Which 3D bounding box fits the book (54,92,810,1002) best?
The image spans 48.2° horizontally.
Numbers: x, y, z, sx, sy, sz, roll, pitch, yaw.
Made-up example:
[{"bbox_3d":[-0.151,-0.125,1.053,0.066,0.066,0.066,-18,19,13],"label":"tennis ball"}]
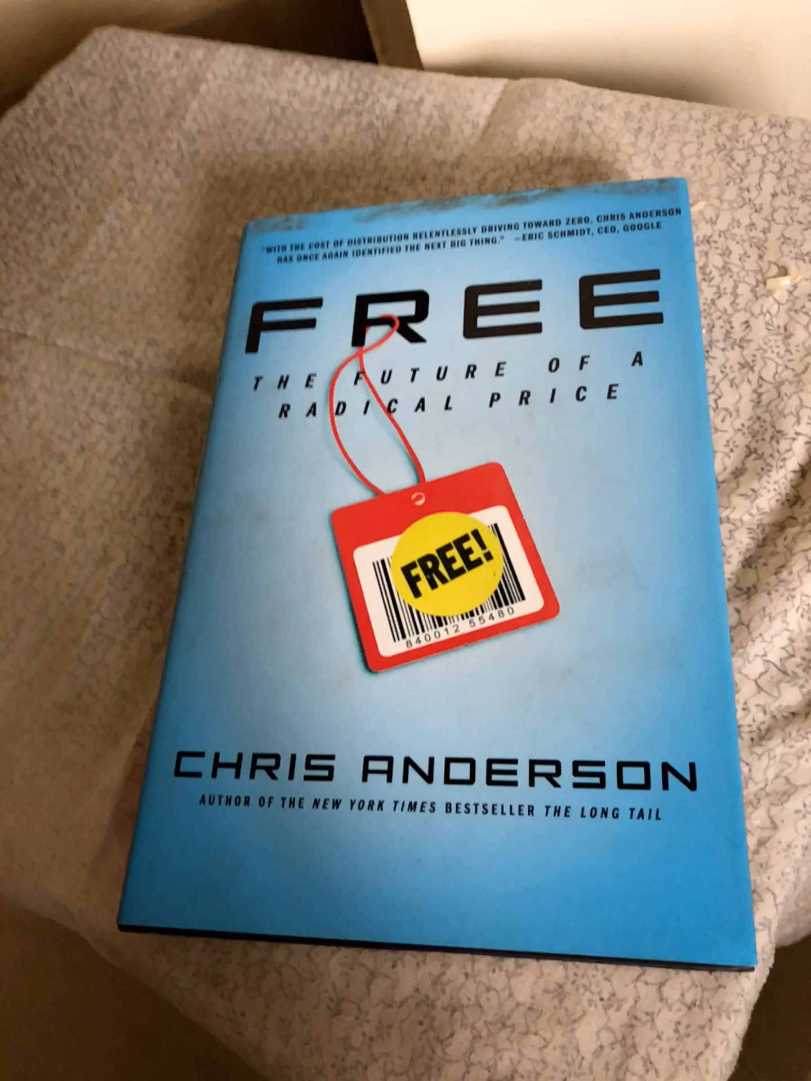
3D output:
[{"bbox_3d":[0.011,-0.016,0.289,0.180,0.040,0.280,-3,62,14],"label":"book"}]
